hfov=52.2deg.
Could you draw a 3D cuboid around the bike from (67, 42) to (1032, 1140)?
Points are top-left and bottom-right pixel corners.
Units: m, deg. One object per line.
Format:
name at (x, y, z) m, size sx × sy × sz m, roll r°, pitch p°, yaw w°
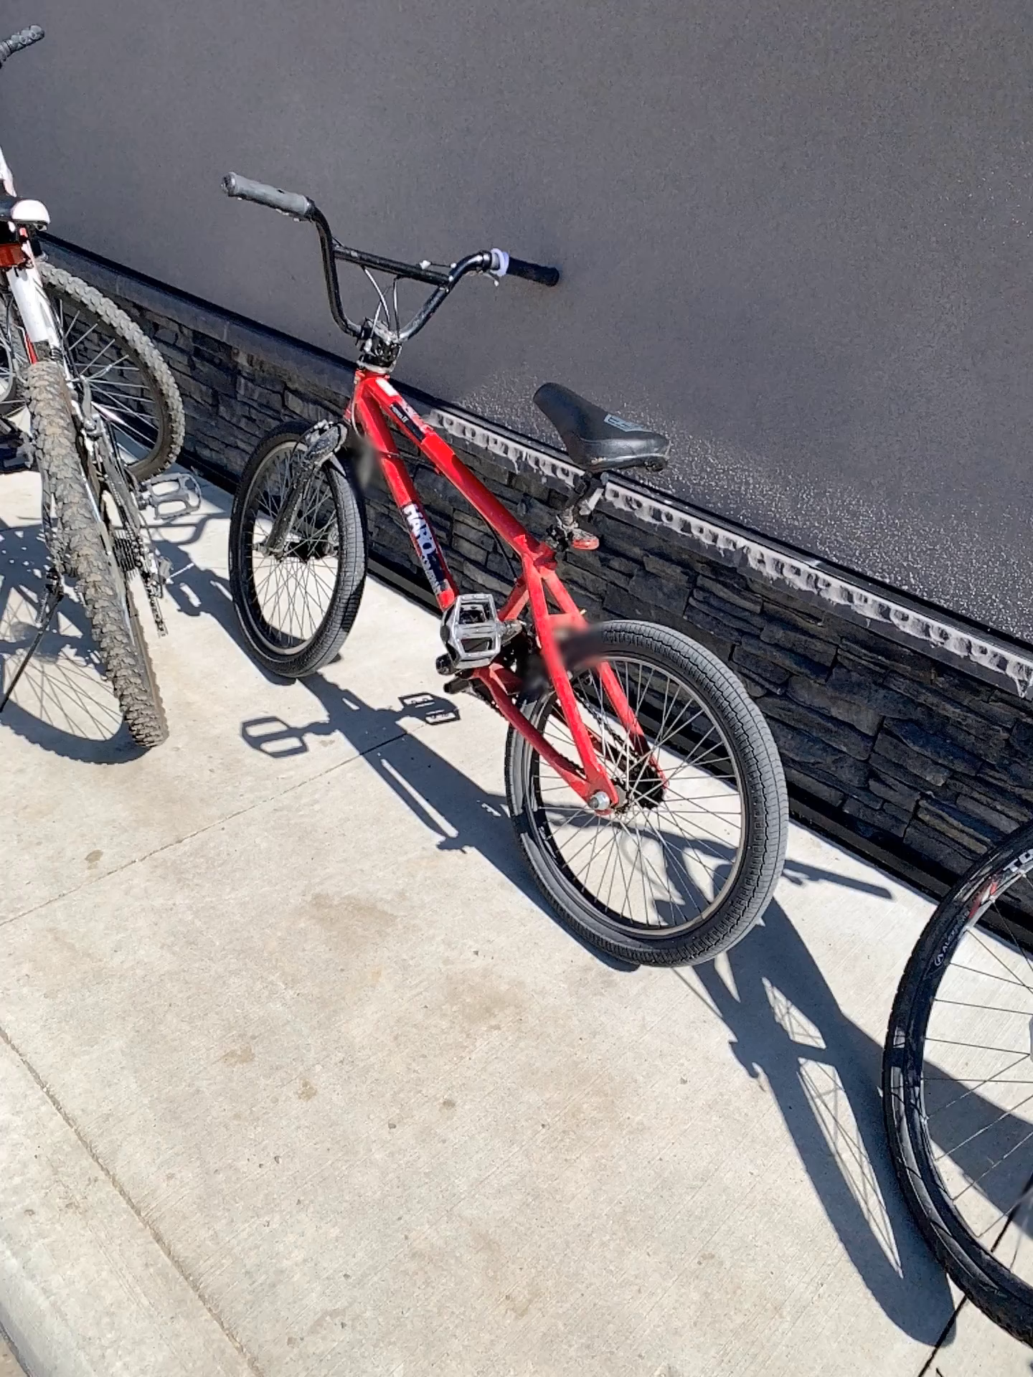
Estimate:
bike at (-0.012, -0.300, 1.649) m, size 0.775 × 0.908 × 1.316 m, roll -18°, pitch 44°, yaw -38°
